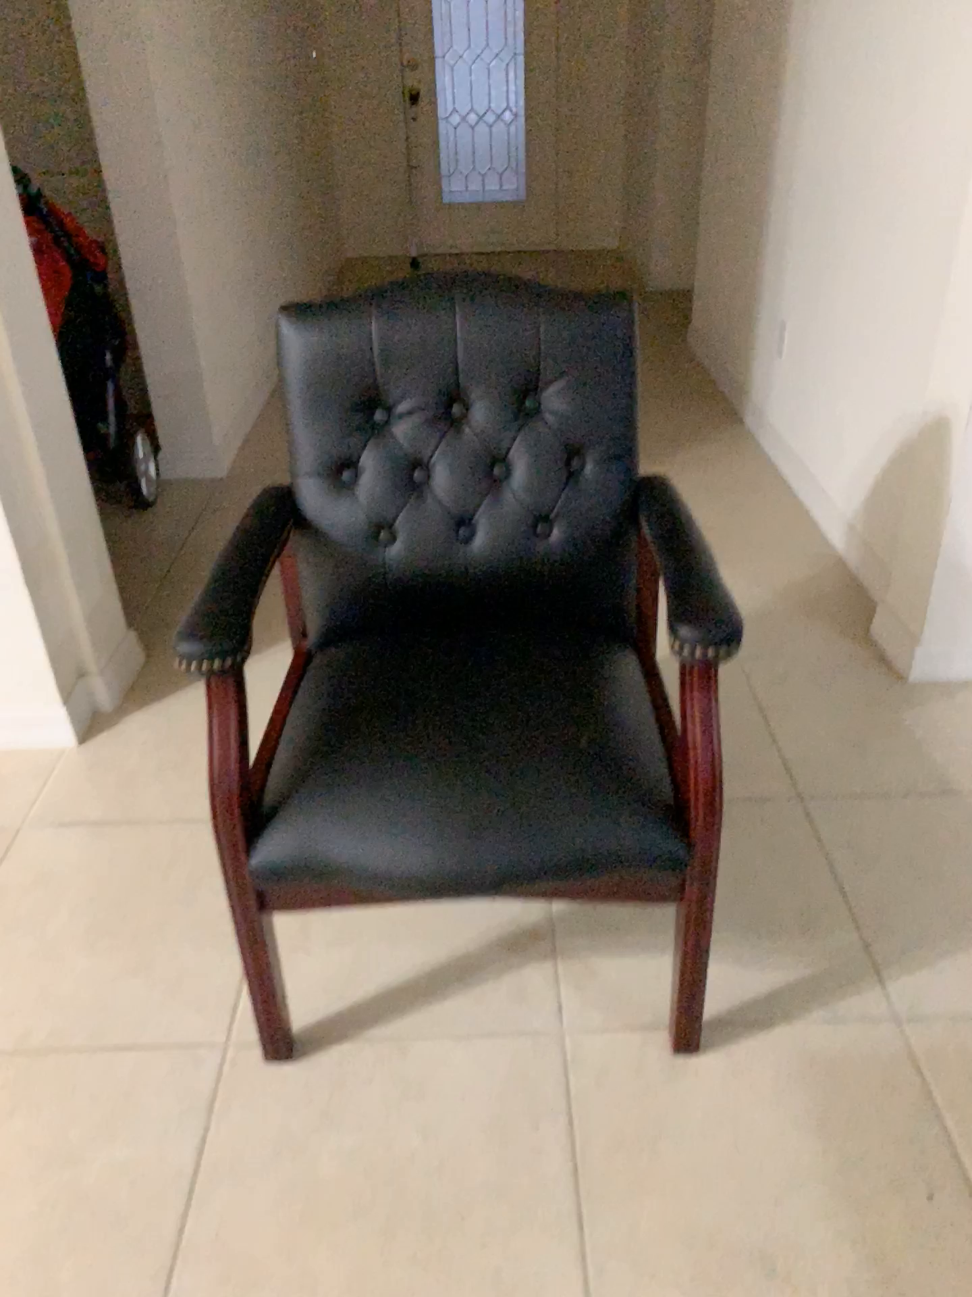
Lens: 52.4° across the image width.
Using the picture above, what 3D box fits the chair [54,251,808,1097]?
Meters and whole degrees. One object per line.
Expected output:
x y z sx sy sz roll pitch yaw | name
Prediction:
-0.037 0.012 1.338 0.631 0.907 0.661 -2 31 0 | chair
